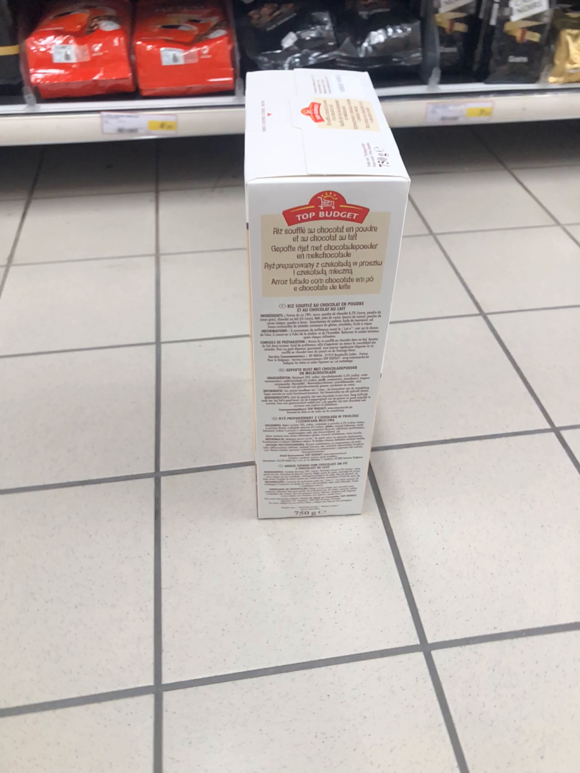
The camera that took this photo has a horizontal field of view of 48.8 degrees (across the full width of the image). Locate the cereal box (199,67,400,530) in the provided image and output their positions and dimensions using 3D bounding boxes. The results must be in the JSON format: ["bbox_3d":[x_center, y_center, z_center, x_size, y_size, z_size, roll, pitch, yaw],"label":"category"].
[{"bbox_3d":[0.001,-0.064,0.535,0.110,0.318,0.211,-1,42,-2],"label":"cereal box"}]
